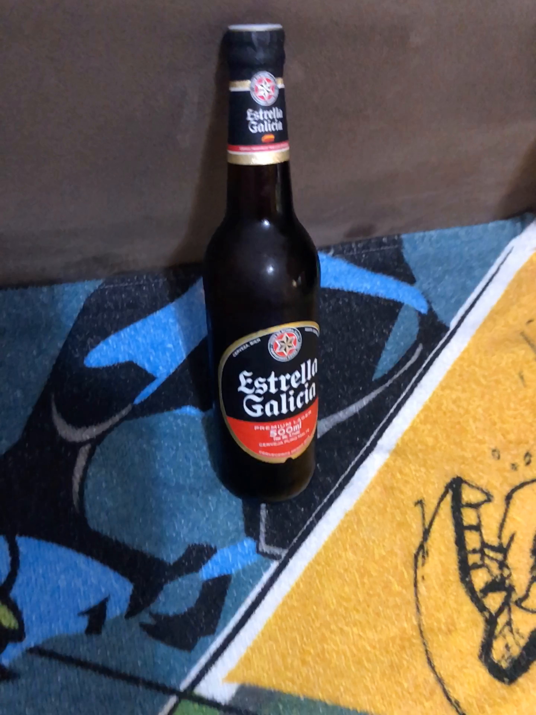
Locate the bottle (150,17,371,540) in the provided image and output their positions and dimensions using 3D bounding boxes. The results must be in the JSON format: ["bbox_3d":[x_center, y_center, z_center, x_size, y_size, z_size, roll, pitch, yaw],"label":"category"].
[{"bbox_3d":[-0.004,-0.036,0.337,0.080,0.269,0.080,-1,27,1],"label":"bottle"}]
